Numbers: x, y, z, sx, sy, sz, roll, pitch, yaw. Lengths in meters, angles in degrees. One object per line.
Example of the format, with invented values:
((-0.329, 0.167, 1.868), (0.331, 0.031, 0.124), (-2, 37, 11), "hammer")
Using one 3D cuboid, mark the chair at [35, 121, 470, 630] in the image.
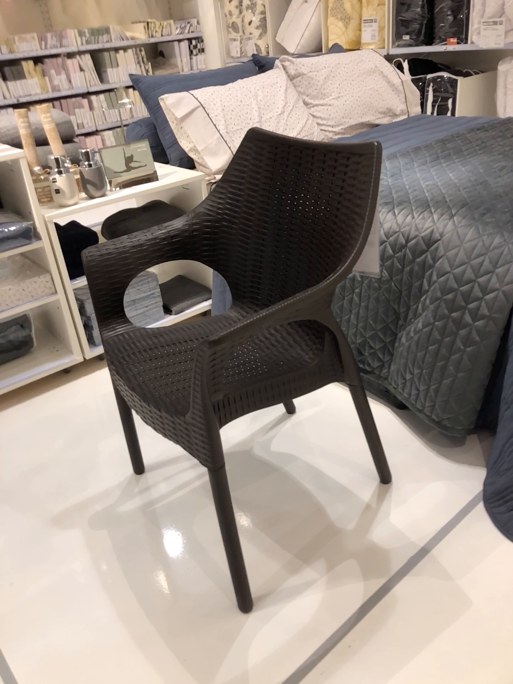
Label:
((-0.003, -0.006, 1.211), (0.571, 0.764, 0.593), (-23, 32, -27), "chair")
